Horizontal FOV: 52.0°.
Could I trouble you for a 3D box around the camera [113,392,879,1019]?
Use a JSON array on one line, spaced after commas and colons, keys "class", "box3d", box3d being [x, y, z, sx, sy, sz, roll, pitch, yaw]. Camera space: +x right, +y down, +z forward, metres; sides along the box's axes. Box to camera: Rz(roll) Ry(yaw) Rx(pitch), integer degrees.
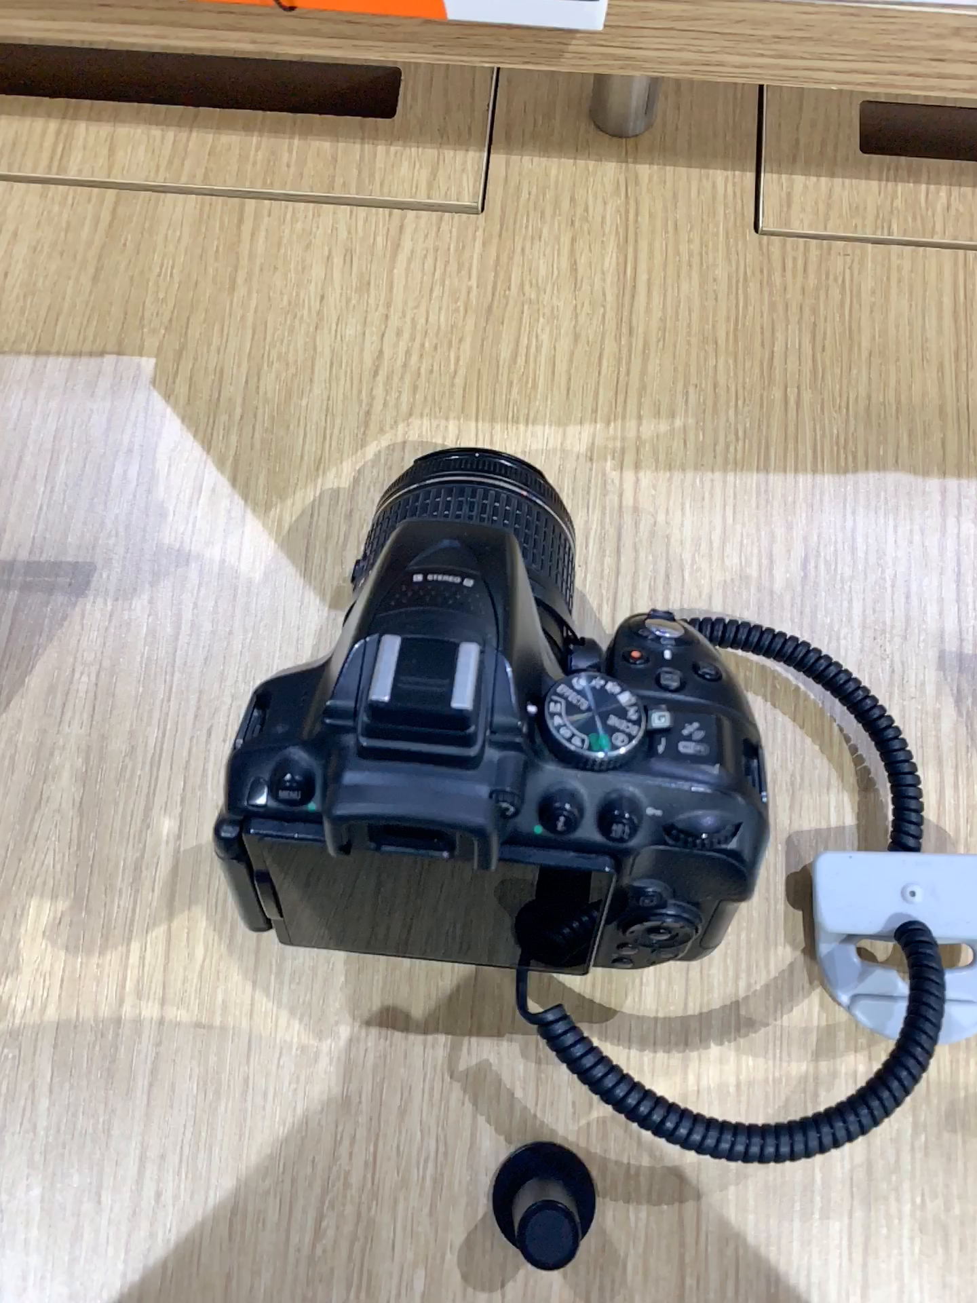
[{"class": "camera", "box3d": [0.004, 0.011, 0.235, 0.130, 0.080, 0.110, 5, 52, 2]}]
